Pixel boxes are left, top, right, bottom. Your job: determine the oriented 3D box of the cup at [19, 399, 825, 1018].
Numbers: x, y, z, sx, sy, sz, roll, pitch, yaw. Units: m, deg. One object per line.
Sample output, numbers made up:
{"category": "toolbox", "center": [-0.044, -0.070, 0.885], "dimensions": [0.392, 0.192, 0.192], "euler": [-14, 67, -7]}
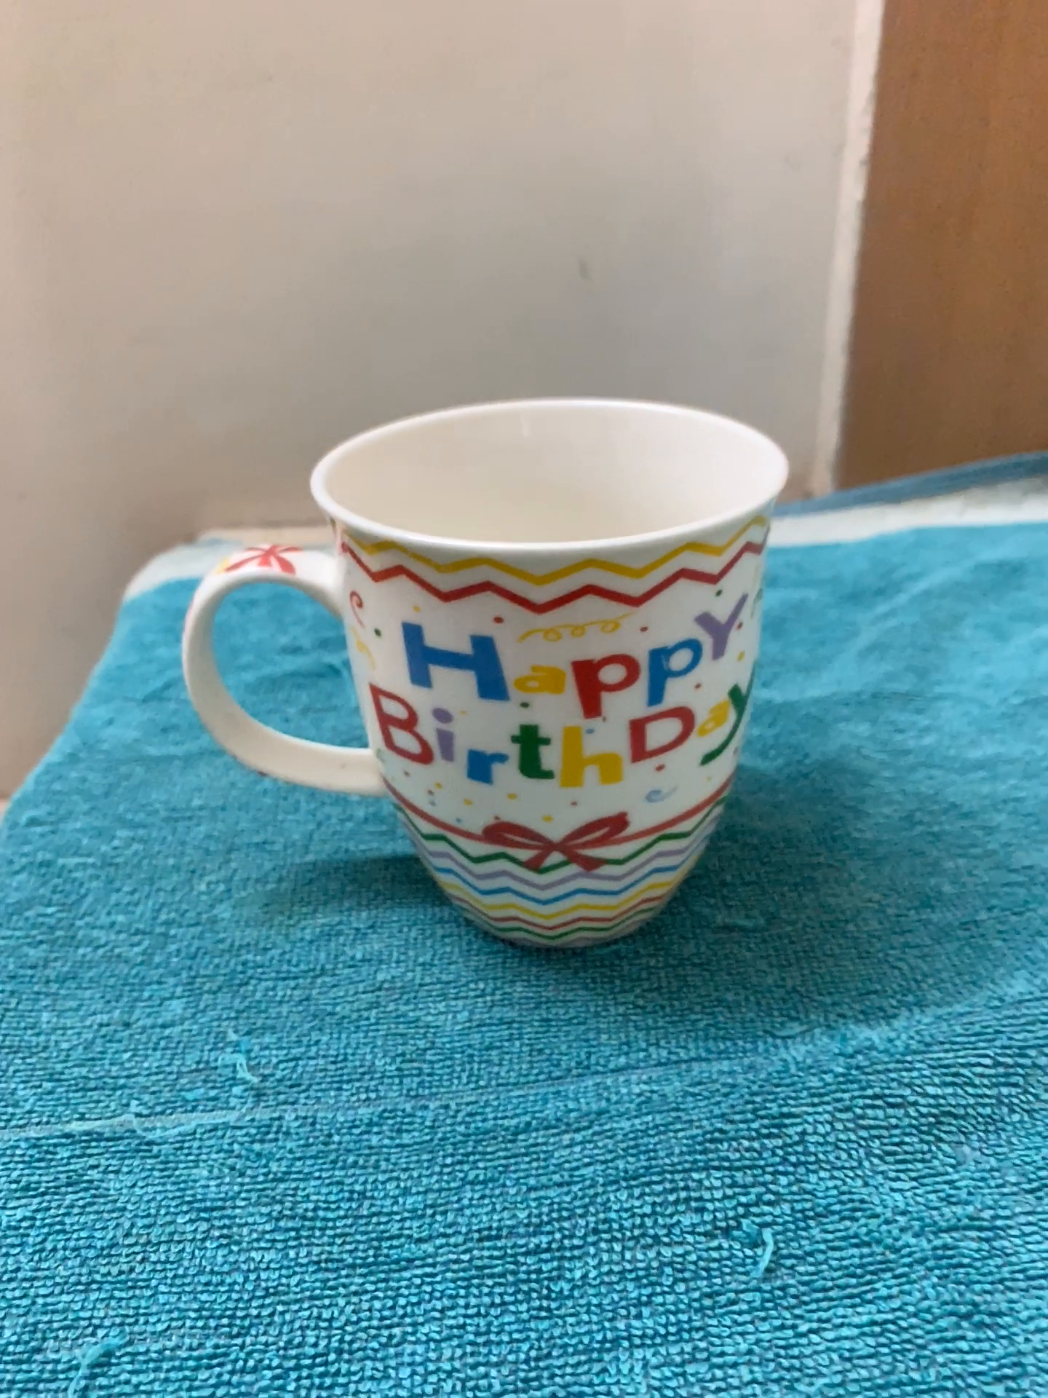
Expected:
{"category": "cup", "center": [-0.015, -0.002, 0.241], "dimensions": [0.130, 0.099, 0.091], "euler": [-2, 29, 1]}
